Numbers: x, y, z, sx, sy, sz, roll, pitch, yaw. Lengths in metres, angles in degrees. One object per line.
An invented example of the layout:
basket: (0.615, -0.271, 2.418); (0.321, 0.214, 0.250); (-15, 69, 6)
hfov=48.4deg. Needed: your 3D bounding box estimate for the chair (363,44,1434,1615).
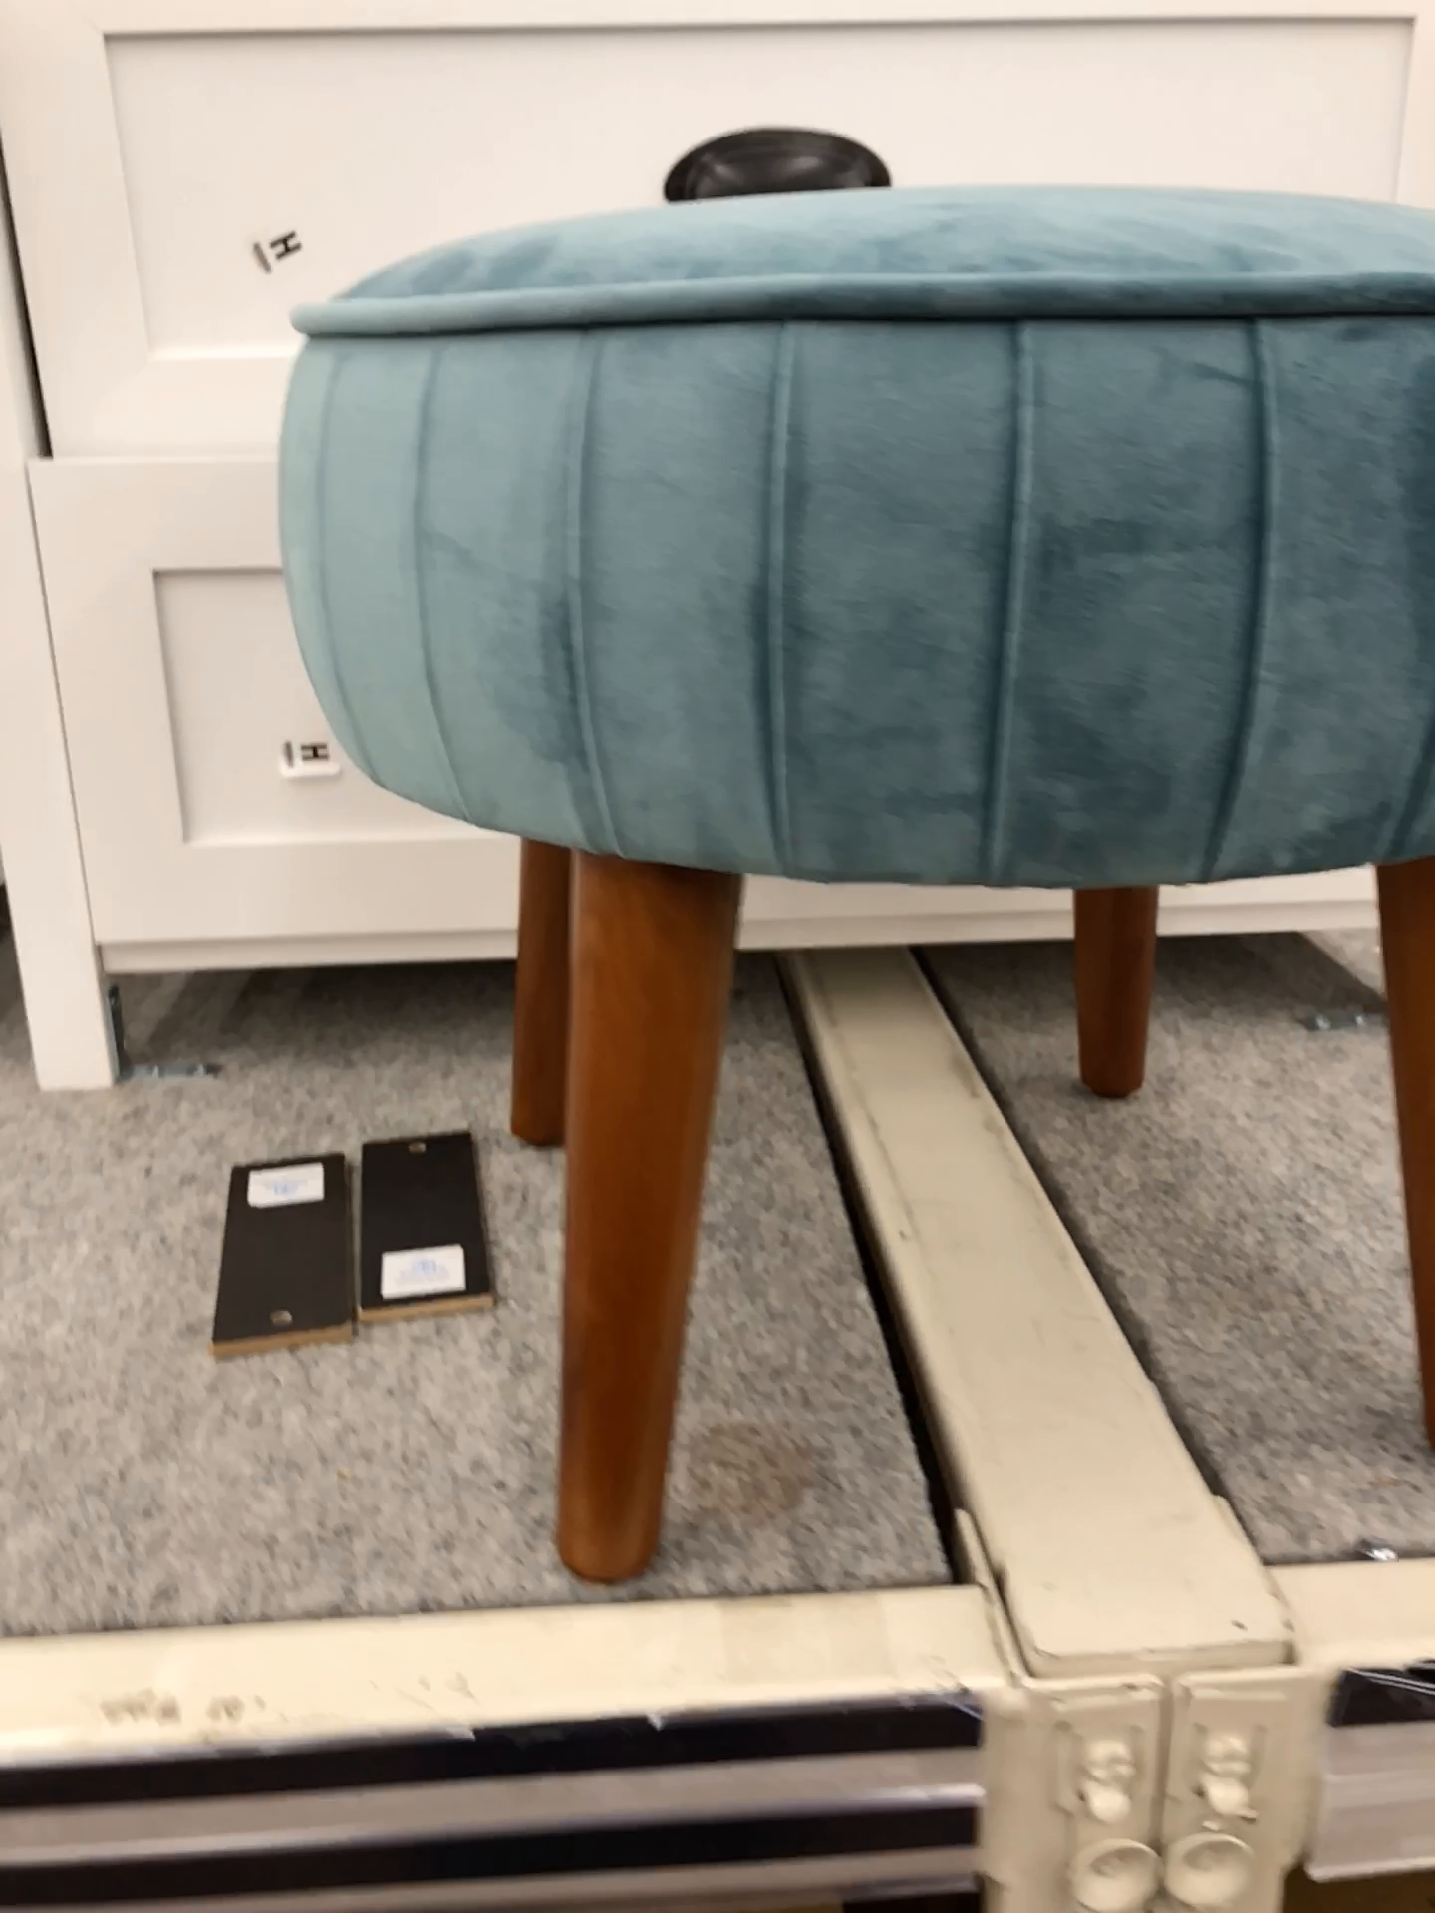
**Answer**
chair: (0.102, -0.066, 0.580); (0.370, 0.399, 0.371); (-2, 19, -3)
